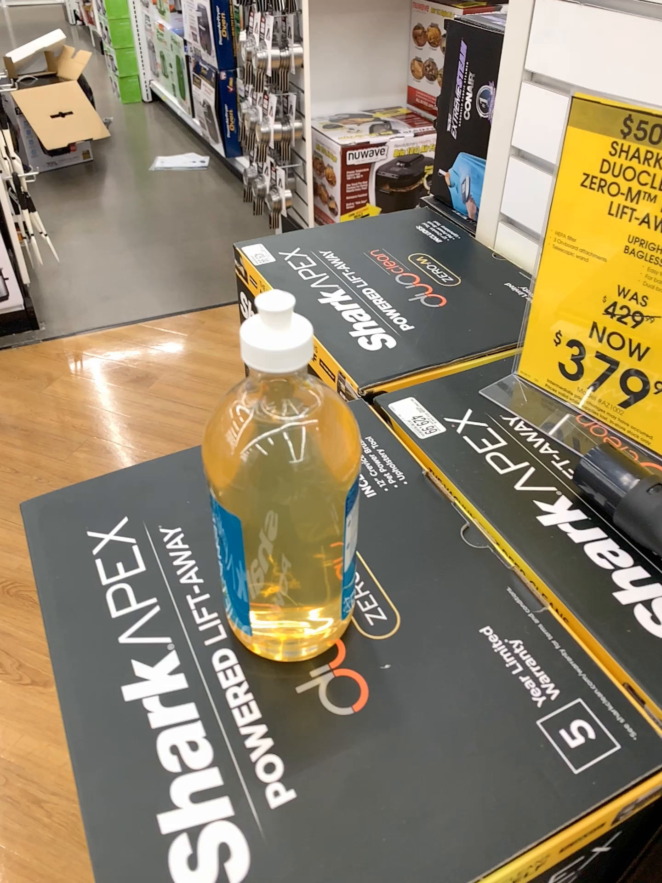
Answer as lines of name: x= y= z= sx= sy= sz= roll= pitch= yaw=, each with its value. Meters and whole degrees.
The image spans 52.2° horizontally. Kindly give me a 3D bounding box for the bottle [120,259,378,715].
bottle: x=-0.038 y=0.031 z=0.336 sx=0.090 sy=0.209 sz=0.090 roll=0 pitch=40 yaw=0
